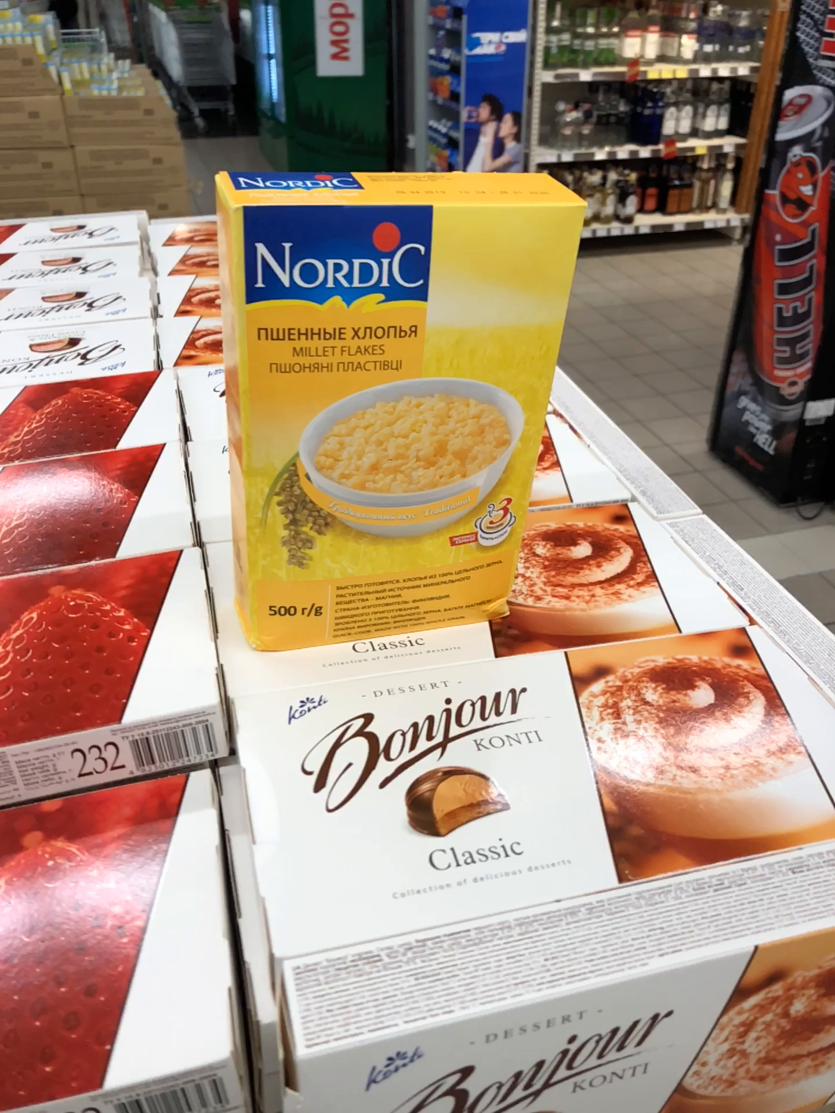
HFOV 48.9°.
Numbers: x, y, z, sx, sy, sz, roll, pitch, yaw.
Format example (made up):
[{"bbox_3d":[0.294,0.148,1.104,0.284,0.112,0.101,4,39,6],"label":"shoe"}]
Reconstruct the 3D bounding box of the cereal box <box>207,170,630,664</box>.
[{"bbox_3d":[-0.008,-0.058,0.428,0.160,0.218,0.050,-7,39,-17],"label":"cereal box"}]
